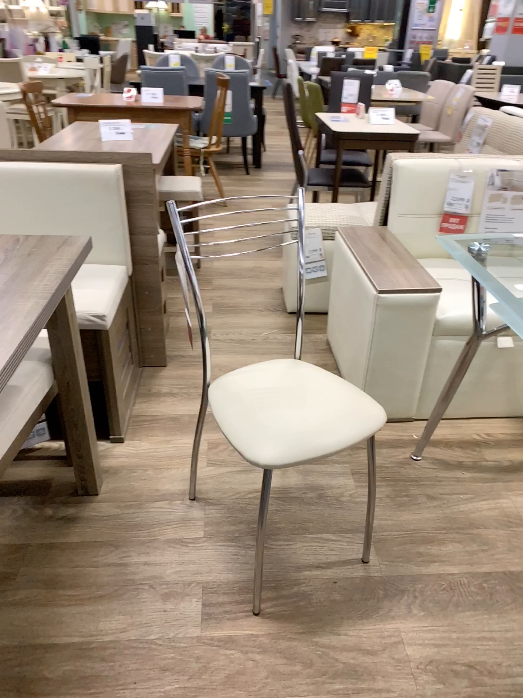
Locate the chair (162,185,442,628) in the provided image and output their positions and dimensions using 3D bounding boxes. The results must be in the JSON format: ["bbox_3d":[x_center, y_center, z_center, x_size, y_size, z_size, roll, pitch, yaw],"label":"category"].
[{"bbox_3d":[0.046,0.138,1.393,0.414,0.967,0.482,-13,33,-24],"label":"chair"}]
